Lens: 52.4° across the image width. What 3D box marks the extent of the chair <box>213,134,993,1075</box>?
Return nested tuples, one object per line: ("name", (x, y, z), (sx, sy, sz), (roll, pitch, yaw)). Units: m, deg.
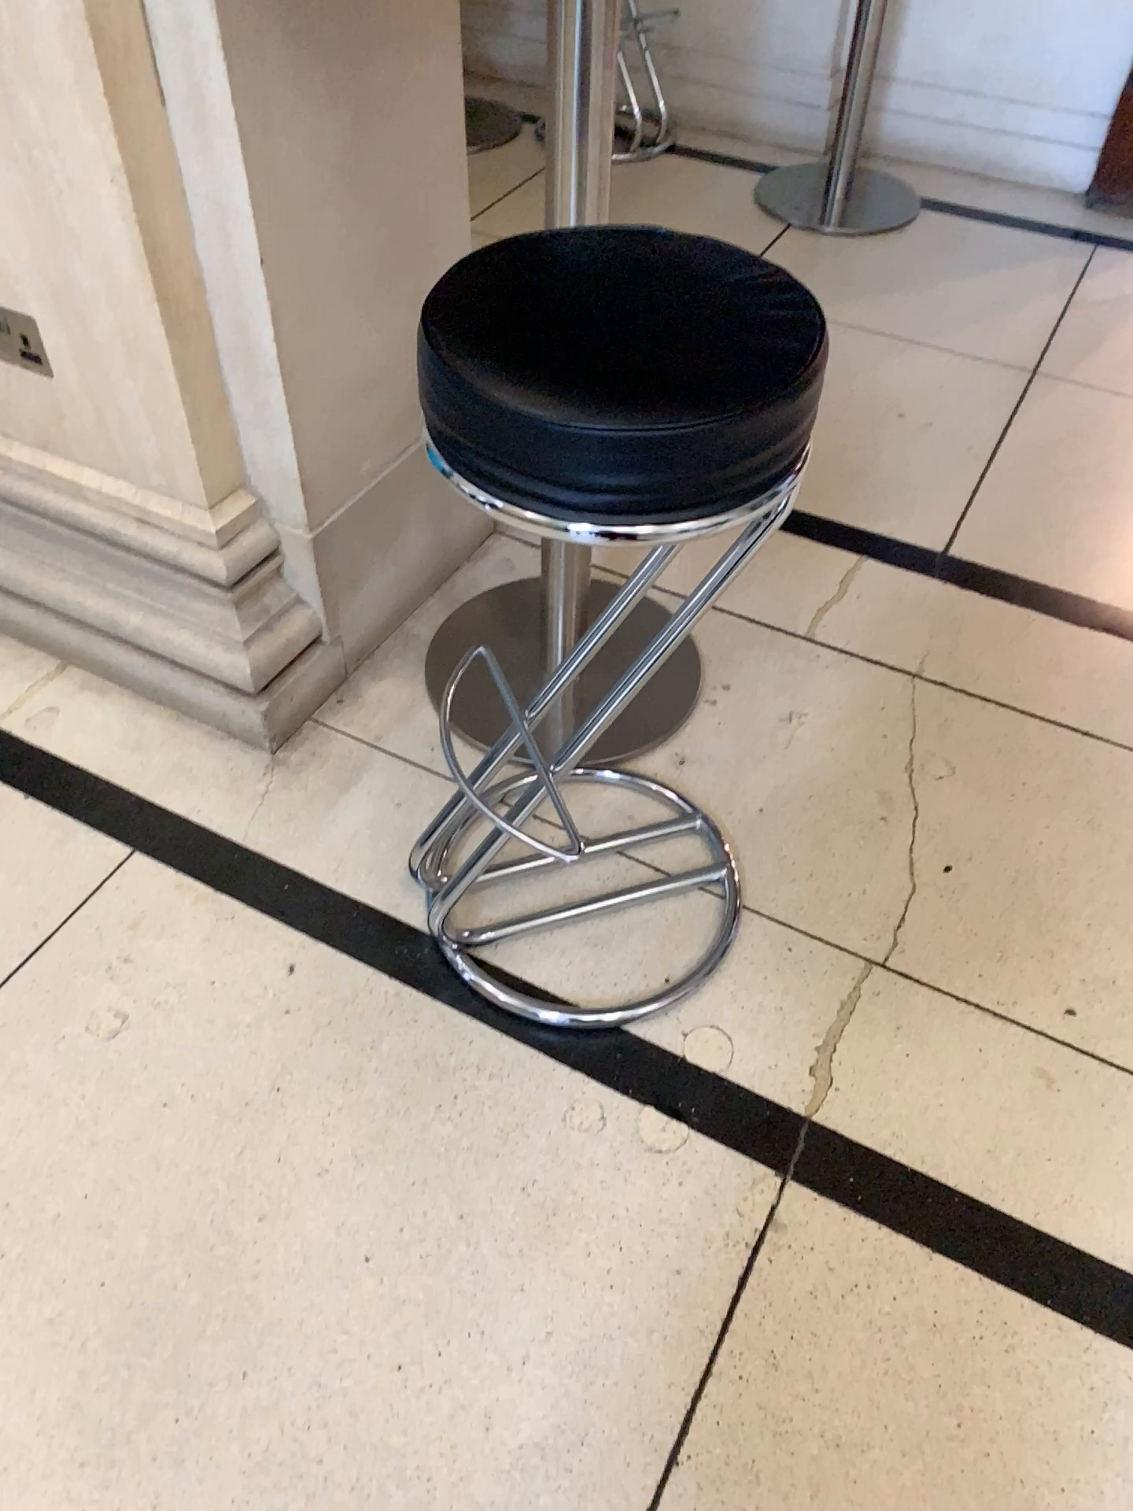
("chair", (-0.003, -0.125, 1.255), (0.504, 0.813, 0.467), (-16, 51, -15))
